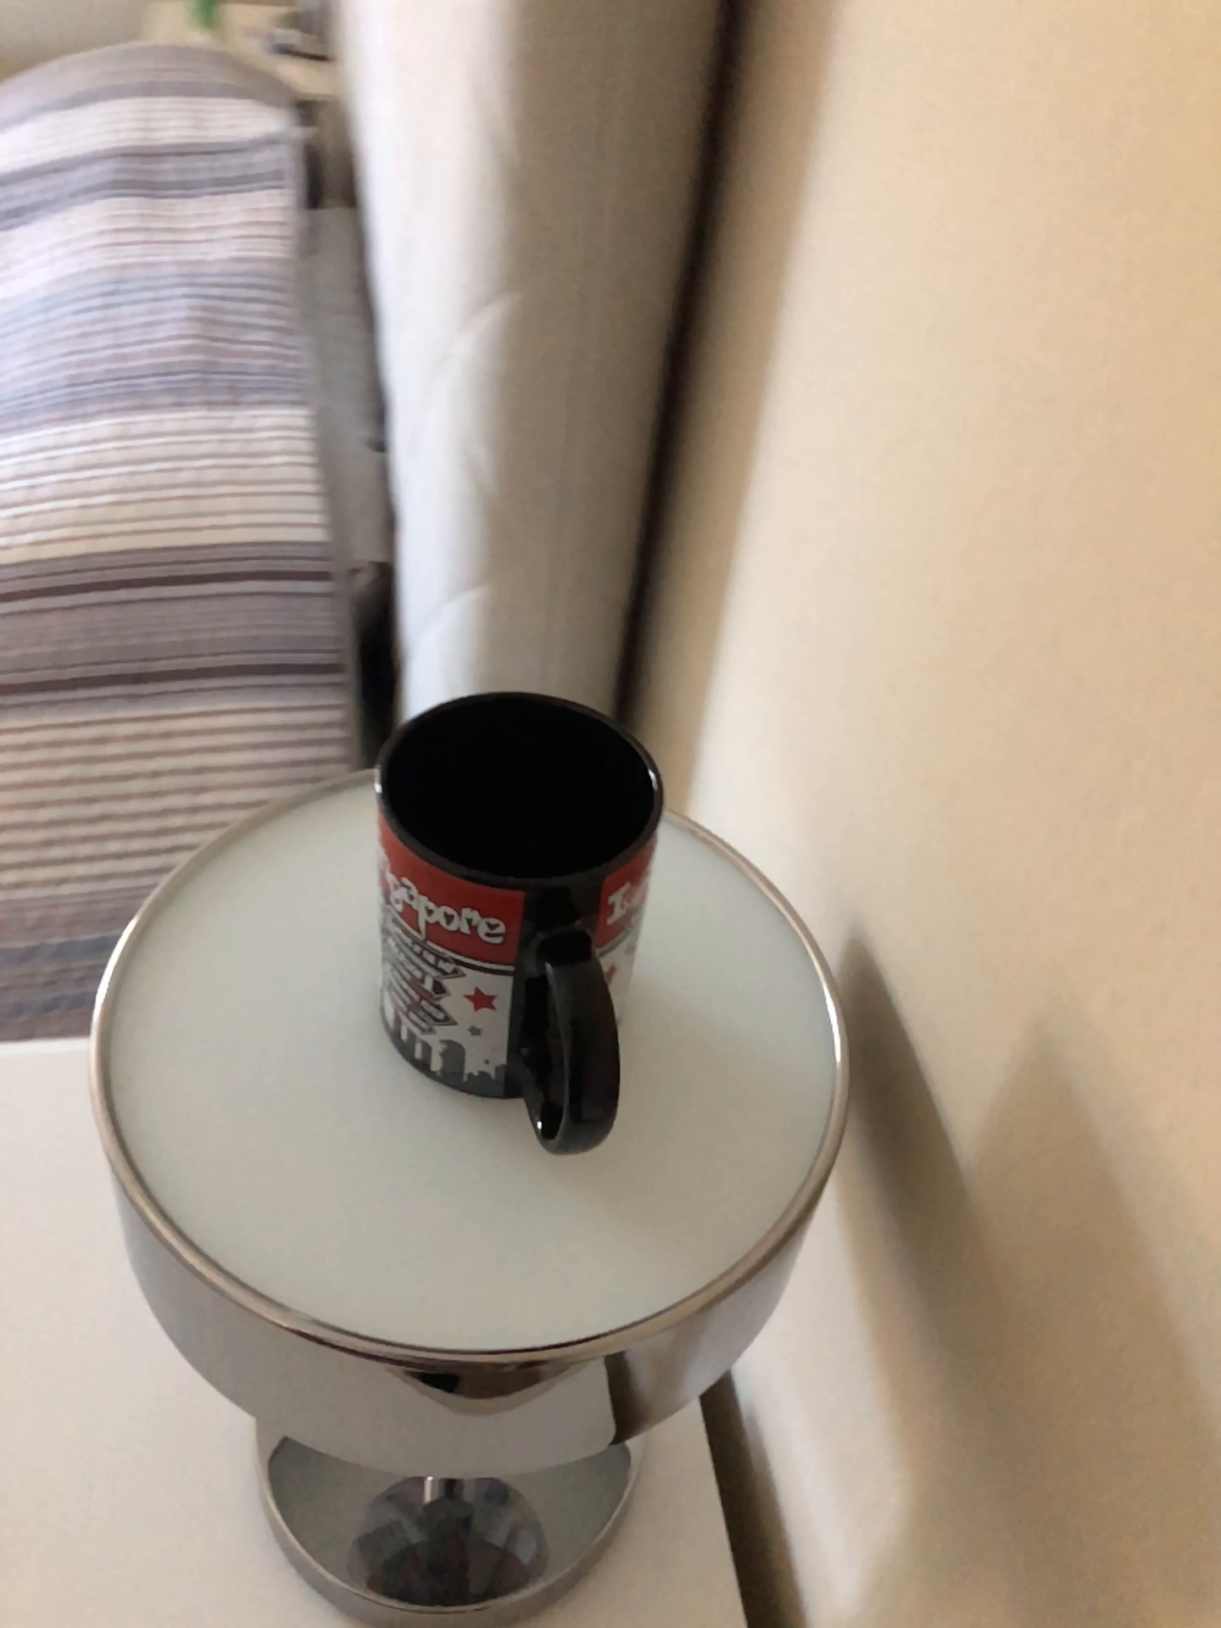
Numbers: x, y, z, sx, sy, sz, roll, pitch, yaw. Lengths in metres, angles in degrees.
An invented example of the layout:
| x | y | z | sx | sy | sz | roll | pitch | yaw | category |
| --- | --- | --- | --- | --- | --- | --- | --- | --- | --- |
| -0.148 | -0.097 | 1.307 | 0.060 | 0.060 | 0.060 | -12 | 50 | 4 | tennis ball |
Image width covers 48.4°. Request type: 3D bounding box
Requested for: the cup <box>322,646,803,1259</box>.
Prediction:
| x | y | z | sx | sy | sz | roll | pitch | yaw | category |
| --- | --- | --- | --- | --- | --- | --- | --- | --- | --- |
| -0.023 | 0.035 | 0.398 | 0.090 | 0.100 | 0.130 | -11 | 45 | -20 | cup |
